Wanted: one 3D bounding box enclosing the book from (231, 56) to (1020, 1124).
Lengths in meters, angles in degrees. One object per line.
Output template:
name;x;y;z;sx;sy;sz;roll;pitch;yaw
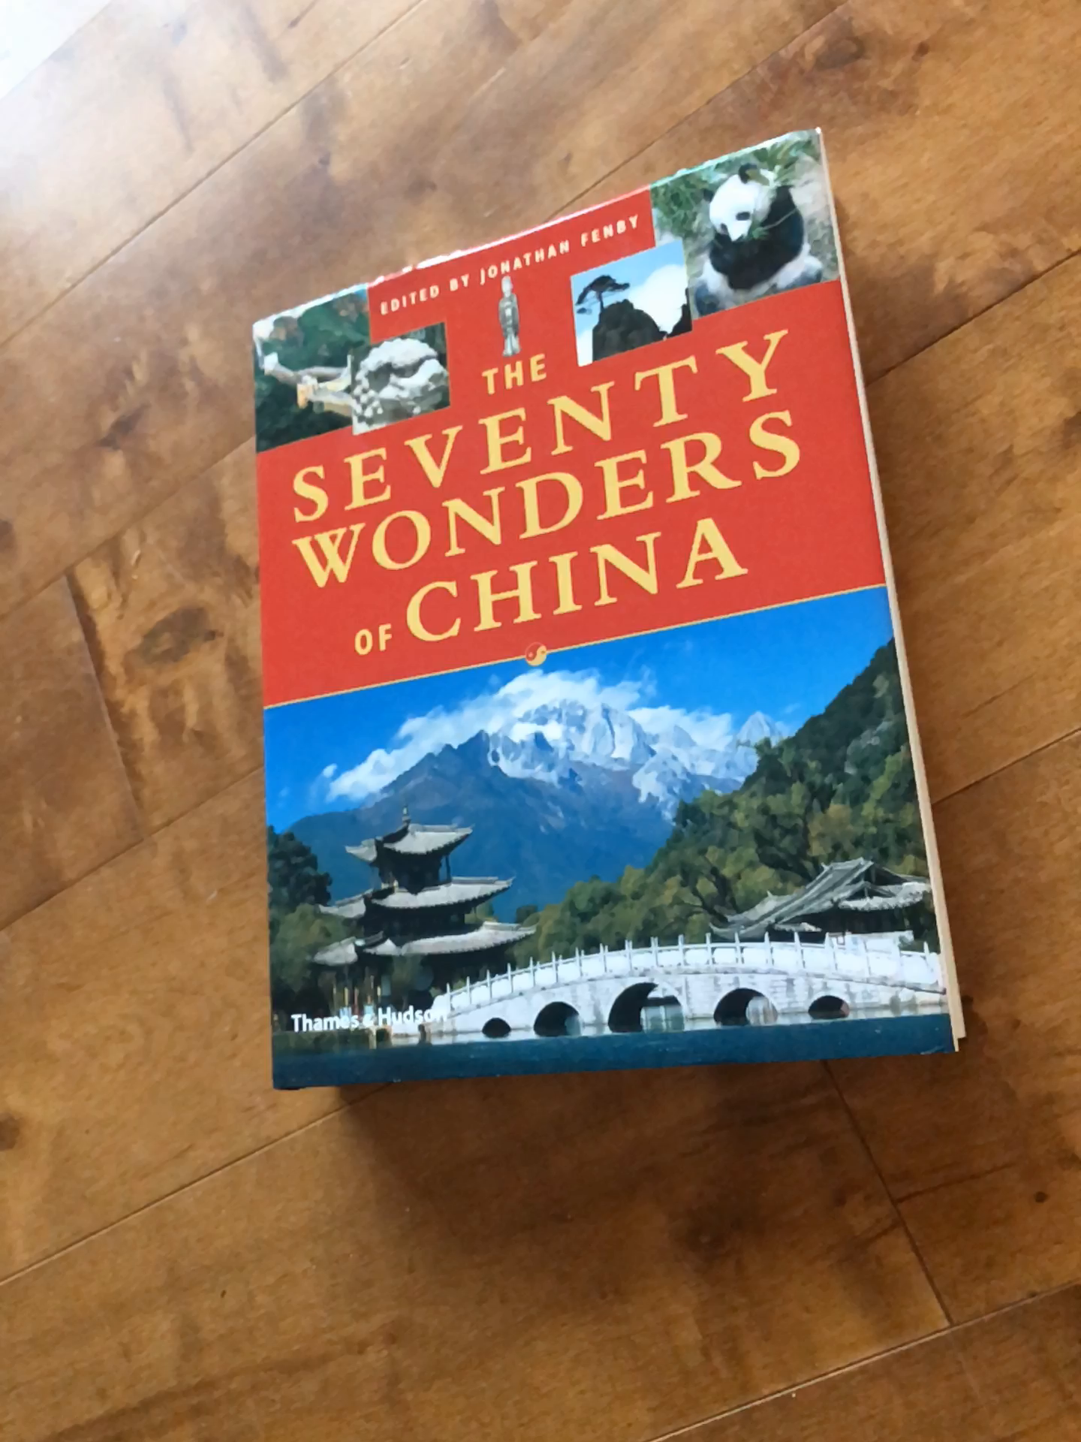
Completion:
book;0.009;-0.031;0.380;0.220;0.050;0.290;-10;75;23
